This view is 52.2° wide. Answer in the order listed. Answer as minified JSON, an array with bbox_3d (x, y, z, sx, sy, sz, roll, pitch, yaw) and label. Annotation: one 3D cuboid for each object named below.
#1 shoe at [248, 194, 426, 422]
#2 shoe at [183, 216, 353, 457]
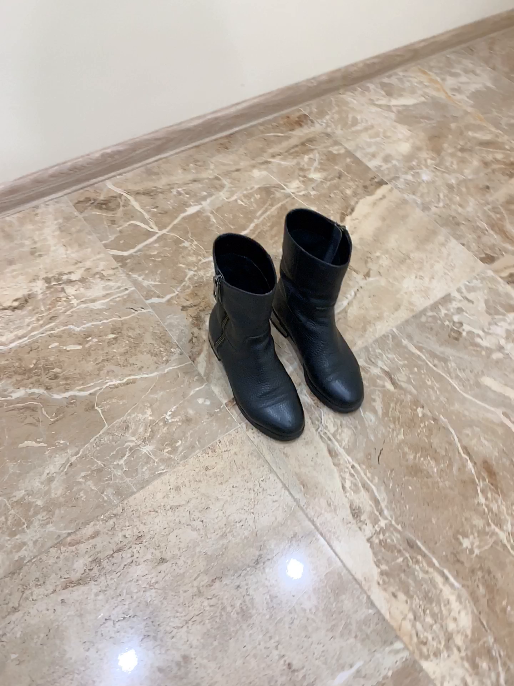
[{"bbox_3d":[0.099,-0.050,0.795,0.090,0.209,0.261,-24,63,-21],"label":"shoe"},{"bbox_3d":[-0.003,-0.006,0.747,0.090,0.209,0.261,-24,63,-21],"label":"shoe"}]
